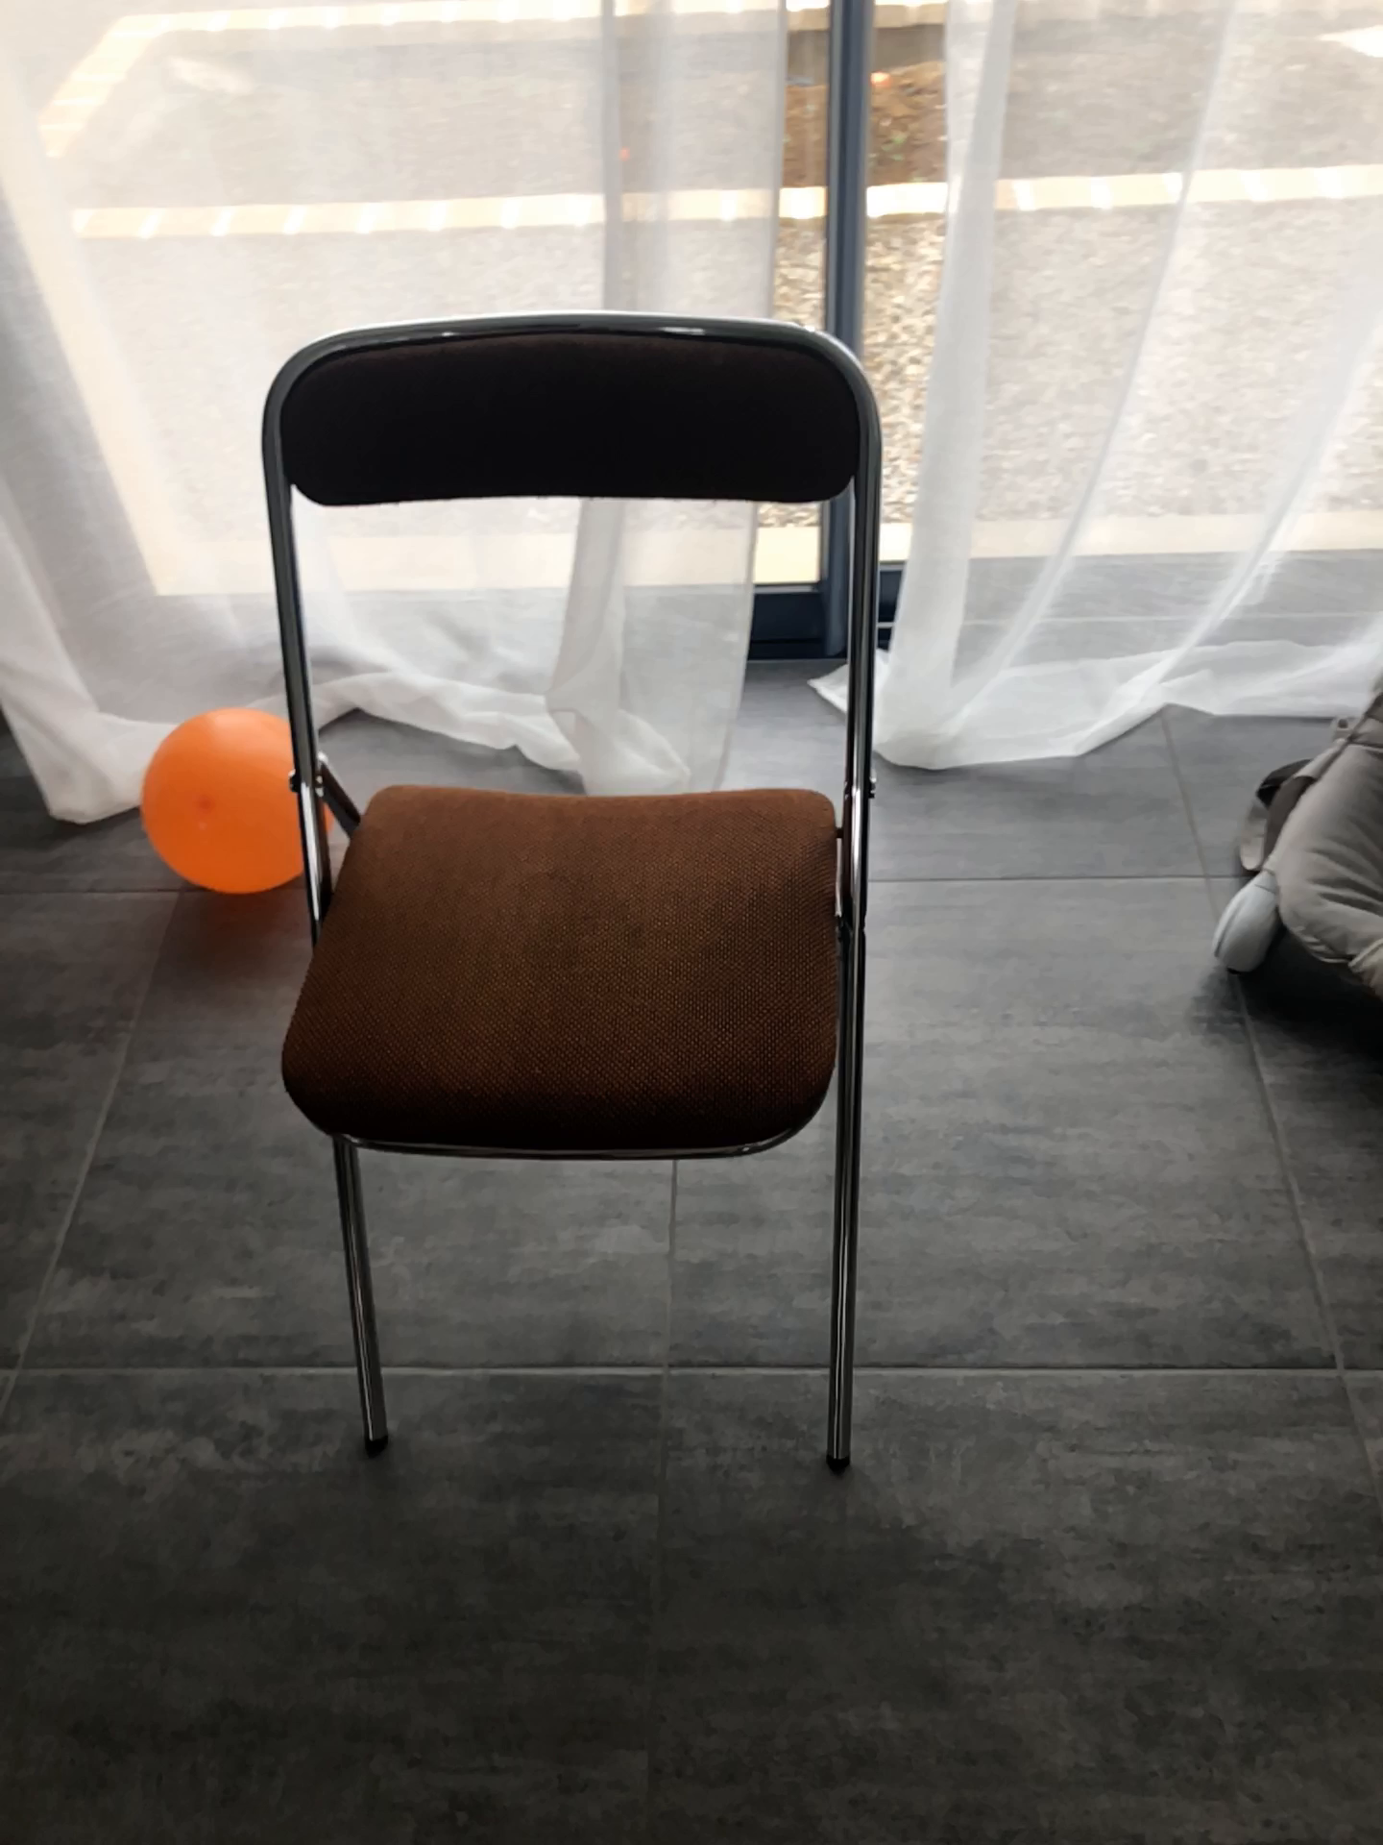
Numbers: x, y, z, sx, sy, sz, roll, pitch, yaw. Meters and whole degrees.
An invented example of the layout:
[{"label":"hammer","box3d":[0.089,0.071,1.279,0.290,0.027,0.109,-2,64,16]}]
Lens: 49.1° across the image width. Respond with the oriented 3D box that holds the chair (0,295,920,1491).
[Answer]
[{"label":"chair","box3d":[-0.104,0.007,1.166,0.480,0.736,0.553,1,48,4]}]
